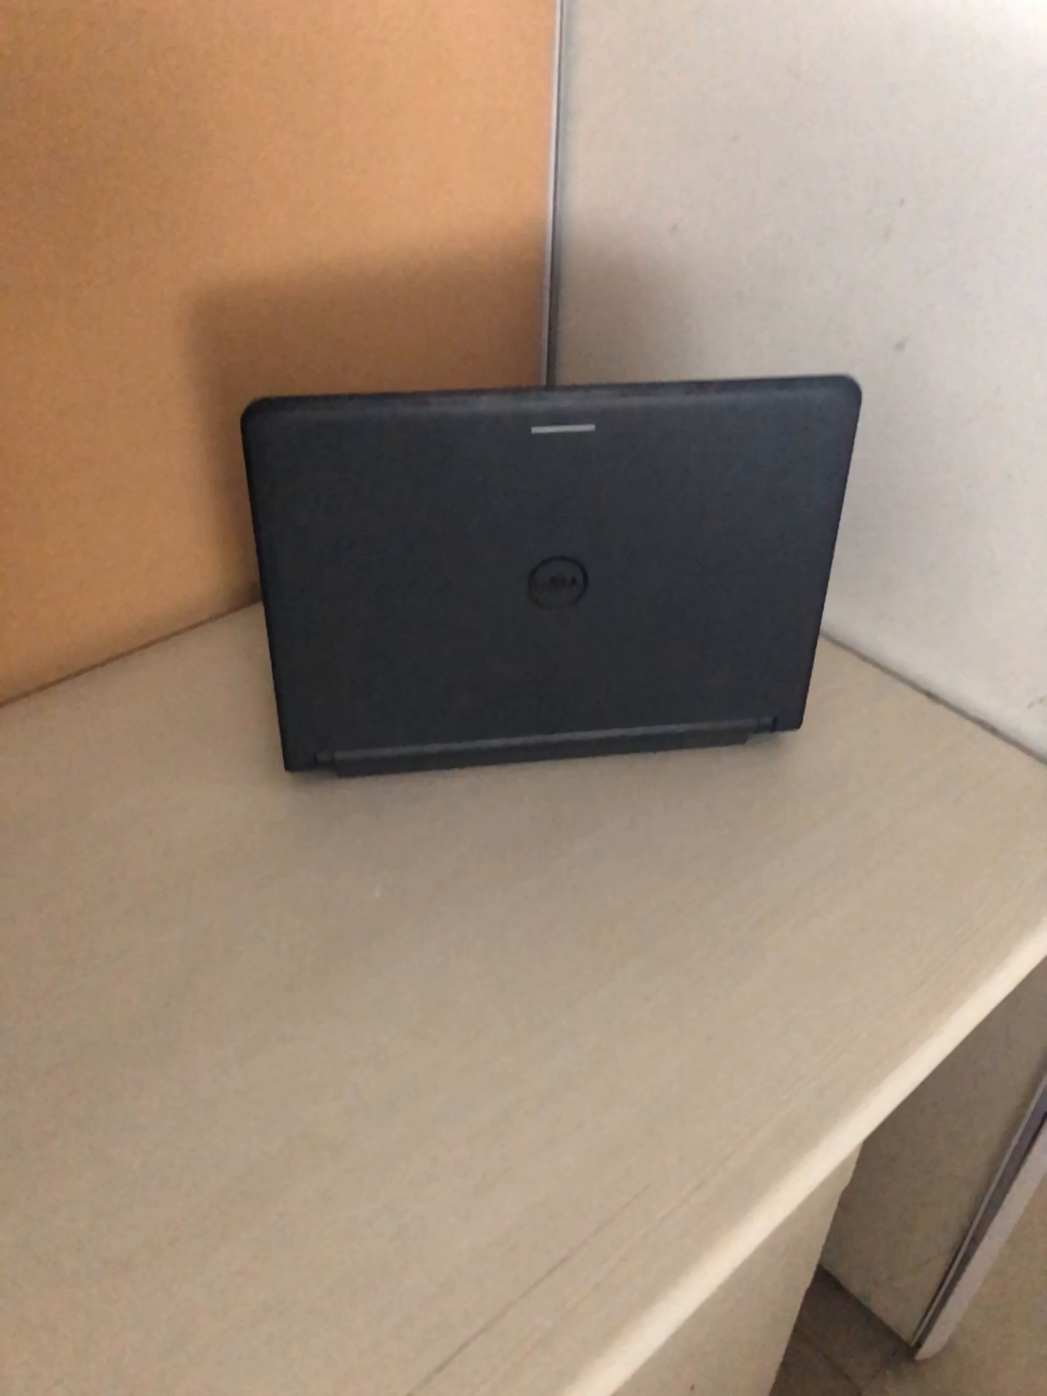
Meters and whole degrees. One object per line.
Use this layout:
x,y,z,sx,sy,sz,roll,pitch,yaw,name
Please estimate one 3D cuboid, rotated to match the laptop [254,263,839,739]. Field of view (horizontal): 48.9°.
0.000,-0.135,0.737,0.304,0.211,0.215,-5,37,-8,laptop
